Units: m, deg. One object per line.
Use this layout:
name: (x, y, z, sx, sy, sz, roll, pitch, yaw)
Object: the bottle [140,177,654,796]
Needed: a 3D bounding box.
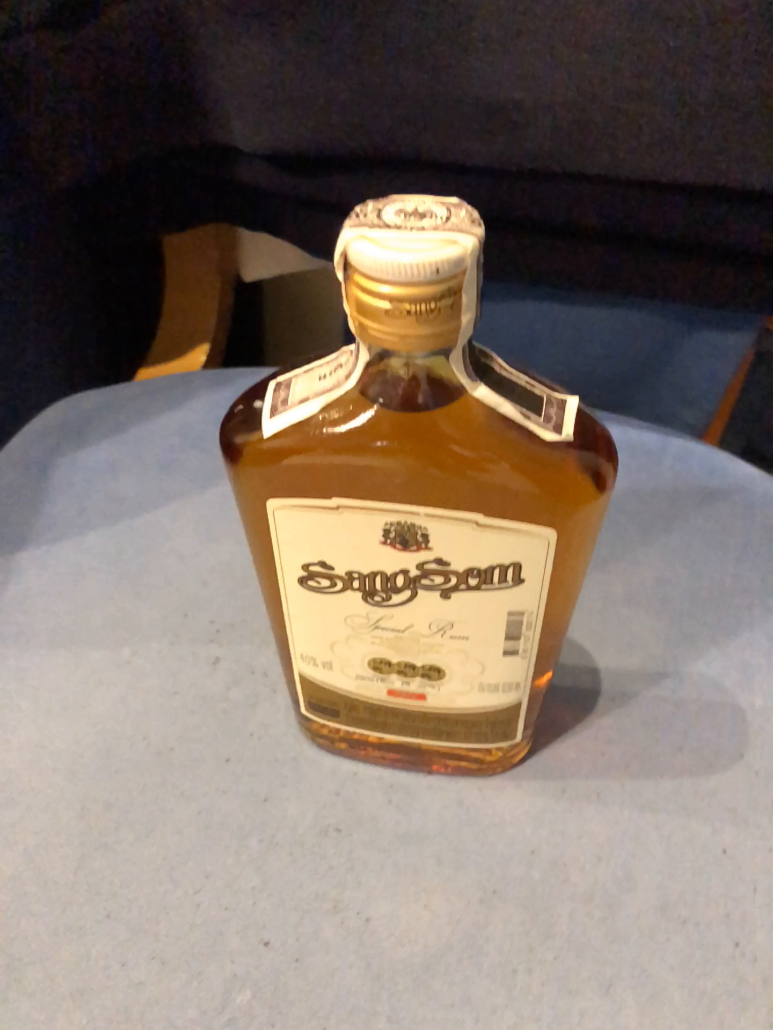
bottle: (0.006, 0.009, 0.228, 0.090, 0.179, 0.041, 7, 48, 8)
